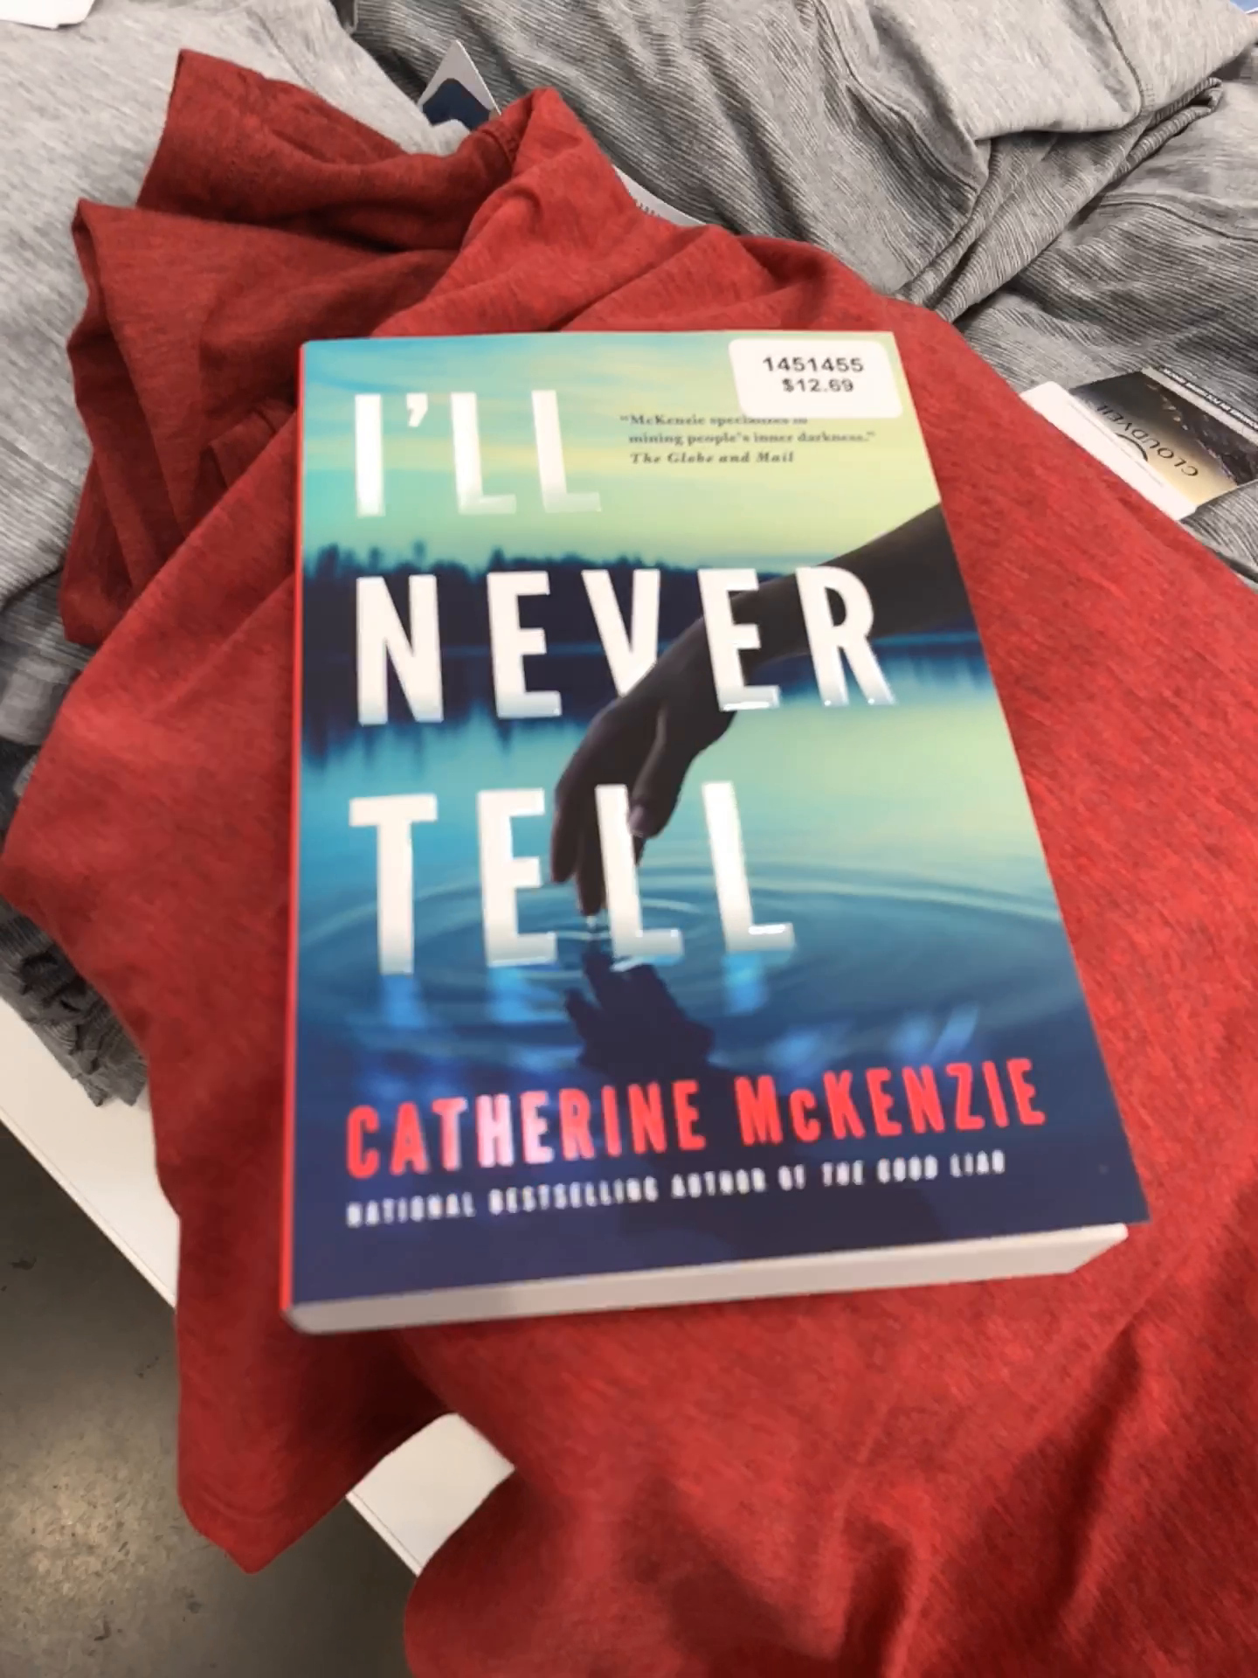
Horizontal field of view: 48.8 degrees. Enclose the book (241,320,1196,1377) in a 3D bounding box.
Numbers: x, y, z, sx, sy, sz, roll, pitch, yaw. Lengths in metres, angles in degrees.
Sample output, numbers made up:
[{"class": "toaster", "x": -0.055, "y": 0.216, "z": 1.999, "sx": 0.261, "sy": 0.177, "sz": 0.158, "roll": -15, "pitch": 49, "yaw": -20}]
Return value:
[{"class": "book", "x": 0.003, "y": -0.016, "z": 0.269, "sx": 0.143, "sy": 0.032, "sz": 0.209, "roll": -3, "pitch": 61, "yaw": -7}]
